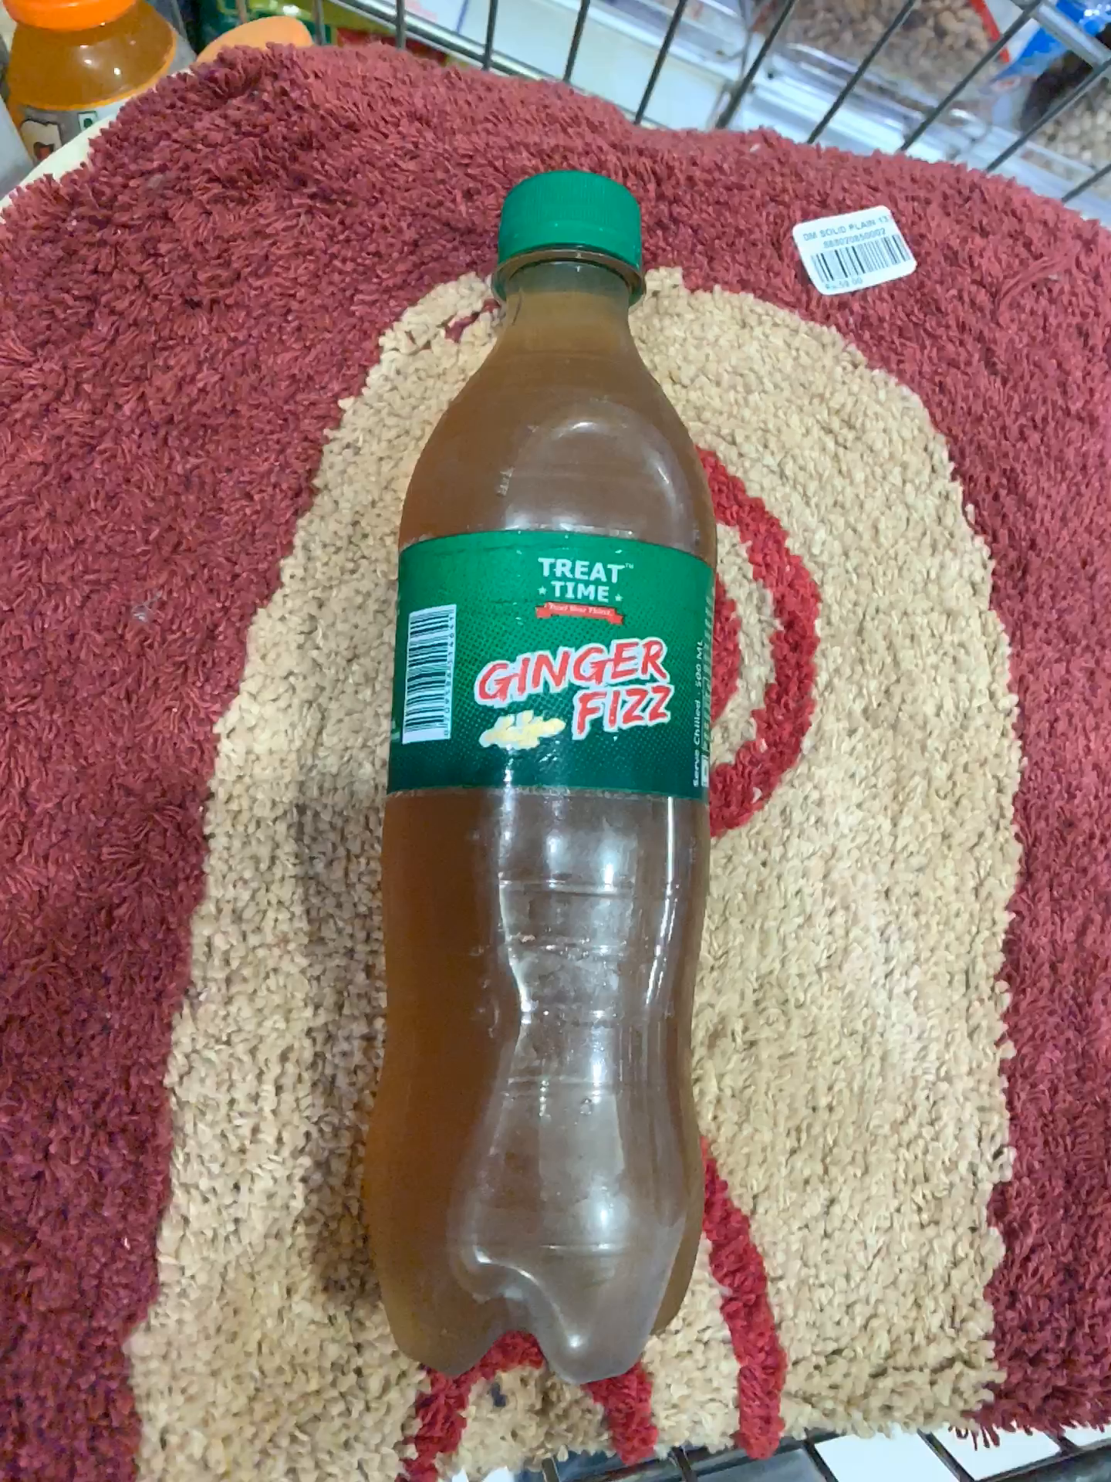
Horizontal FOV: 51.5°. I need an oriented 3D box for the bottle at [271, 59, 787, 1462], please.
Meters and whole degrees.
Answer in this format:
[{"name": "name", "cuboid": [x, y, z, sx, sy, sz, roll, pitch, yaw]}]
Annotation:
[{"name": "bottle", "cuboid": [-0.008, 0.003, 0.224, 0.070, 0.070, 0.220, 5, 86, -17]}]
